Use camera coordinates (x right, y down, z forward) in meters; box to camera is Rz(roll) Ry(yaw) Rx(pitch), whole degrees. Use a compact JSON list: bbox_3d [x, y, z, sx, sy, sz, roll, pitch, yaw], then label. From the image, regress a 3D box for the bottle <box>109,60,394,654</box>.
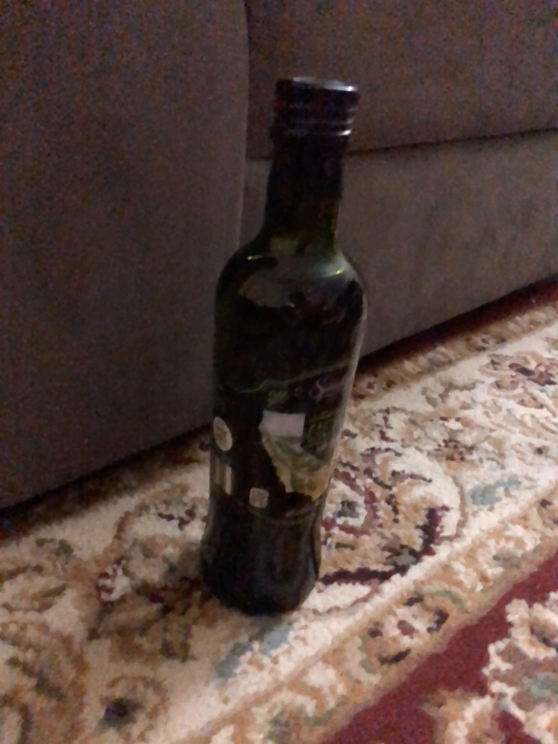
[{"bbox_3d":[-0.016,0.001,0.292,0.080,0.259,0.070,-21,37,-37],"label":"bottle"}]
